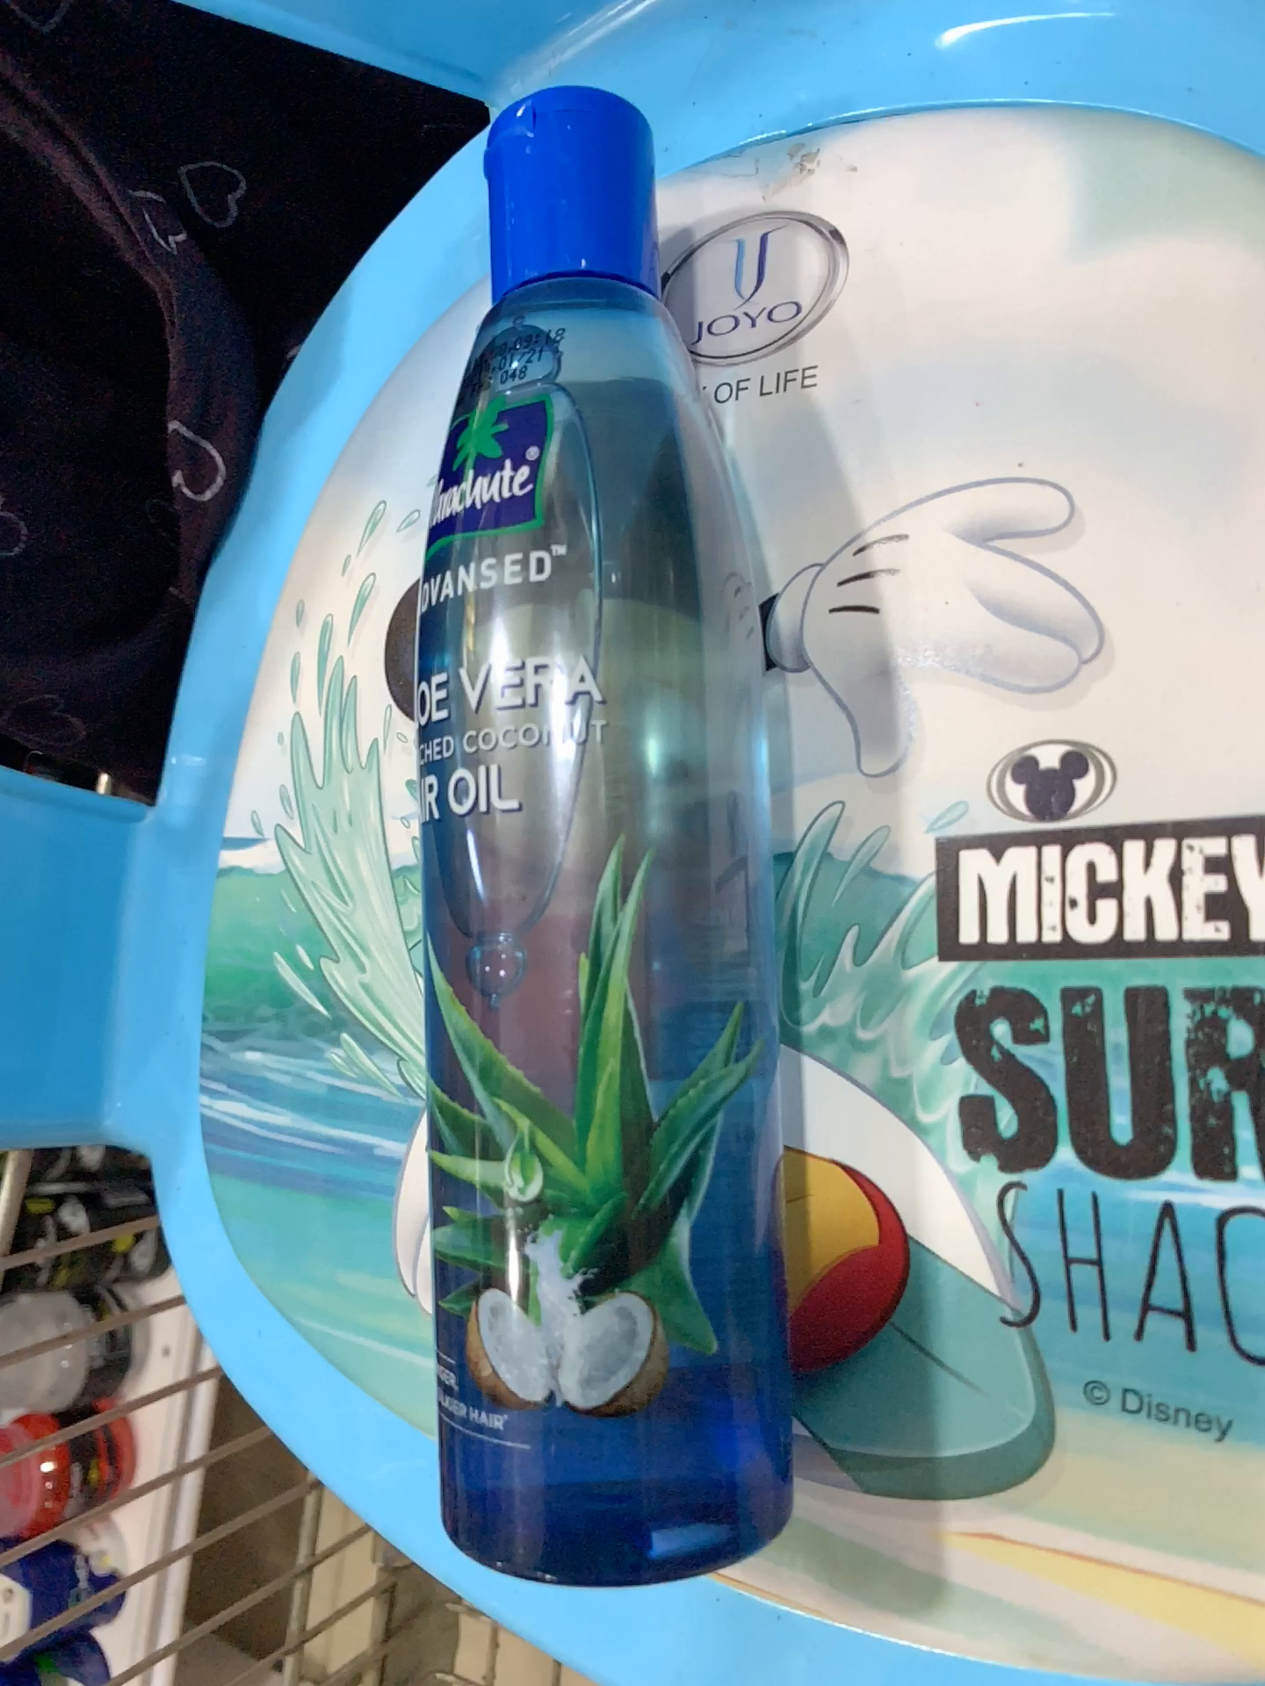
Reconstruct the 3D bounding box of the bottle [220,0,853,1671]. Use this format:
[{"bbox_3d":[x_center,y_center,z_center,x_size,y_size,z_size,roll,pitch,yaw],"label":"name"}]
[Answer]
[{"bbox_3d":[-0.011,-0.013,0.172,0.050,0.050,0.200,-4,89,34],"label":"bottle"}]
